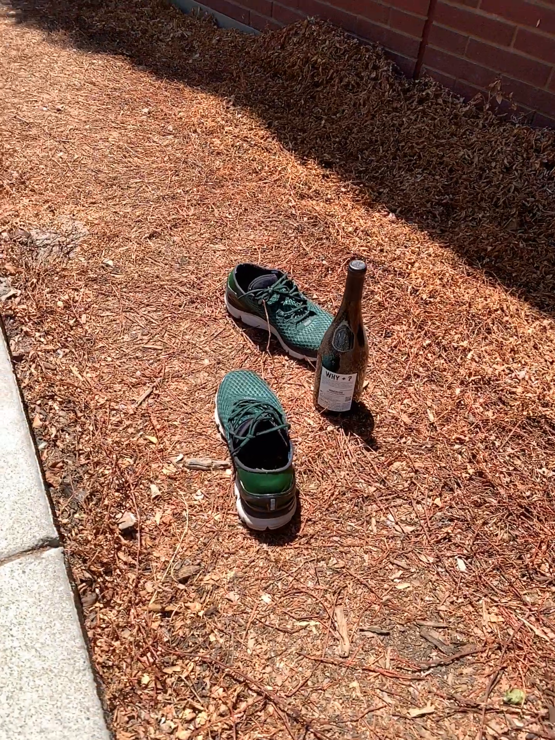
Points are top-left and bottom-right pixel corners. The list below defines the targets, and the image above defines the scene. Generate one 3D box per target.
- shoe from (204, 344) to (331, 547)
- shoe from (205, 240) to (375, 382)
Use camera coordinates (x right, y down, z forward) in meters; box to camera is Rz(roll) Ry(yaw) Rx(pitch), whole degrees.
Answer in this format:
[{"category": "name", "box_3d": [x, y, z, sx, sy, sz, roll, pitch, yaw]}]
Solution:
[{"category": "shoe", "box_3d": [-0.028, 0.104, 0.874, 0.120, 0.099, 0.292, -8, 48, -14]}, {"category": "shoe", "box_3d": [0.016, -0.120, 1.090, 0.301, 0.099, 0.130, 32, 51, 23]}]
